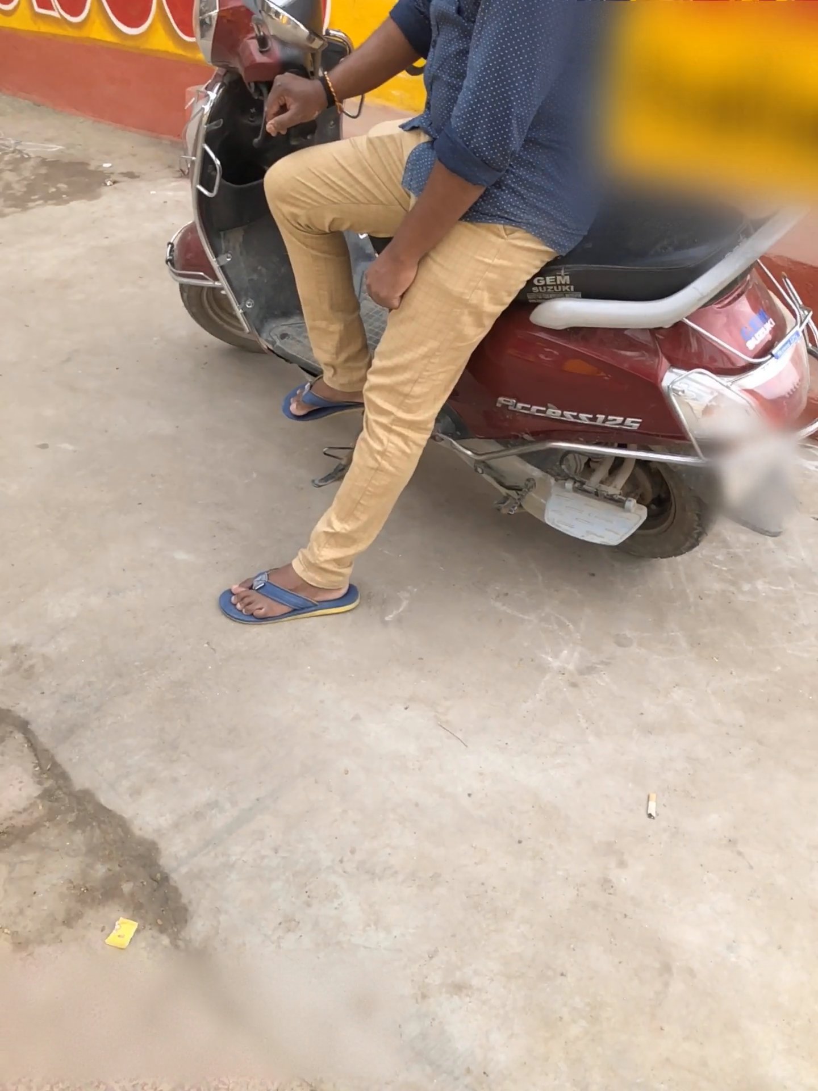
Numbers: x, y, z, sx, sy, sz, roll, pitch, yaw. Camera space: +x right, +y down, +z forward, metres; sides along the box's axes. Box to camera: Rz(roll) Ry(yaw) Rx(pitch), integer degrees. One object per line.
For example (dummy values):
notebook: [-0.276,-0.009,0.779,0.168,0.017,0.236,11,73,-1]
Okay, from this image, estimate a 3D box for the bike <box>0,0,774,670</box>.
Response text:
bike: [-0.226,-0.609,1.820,1.377,1.087,0.632,26,42,25]
